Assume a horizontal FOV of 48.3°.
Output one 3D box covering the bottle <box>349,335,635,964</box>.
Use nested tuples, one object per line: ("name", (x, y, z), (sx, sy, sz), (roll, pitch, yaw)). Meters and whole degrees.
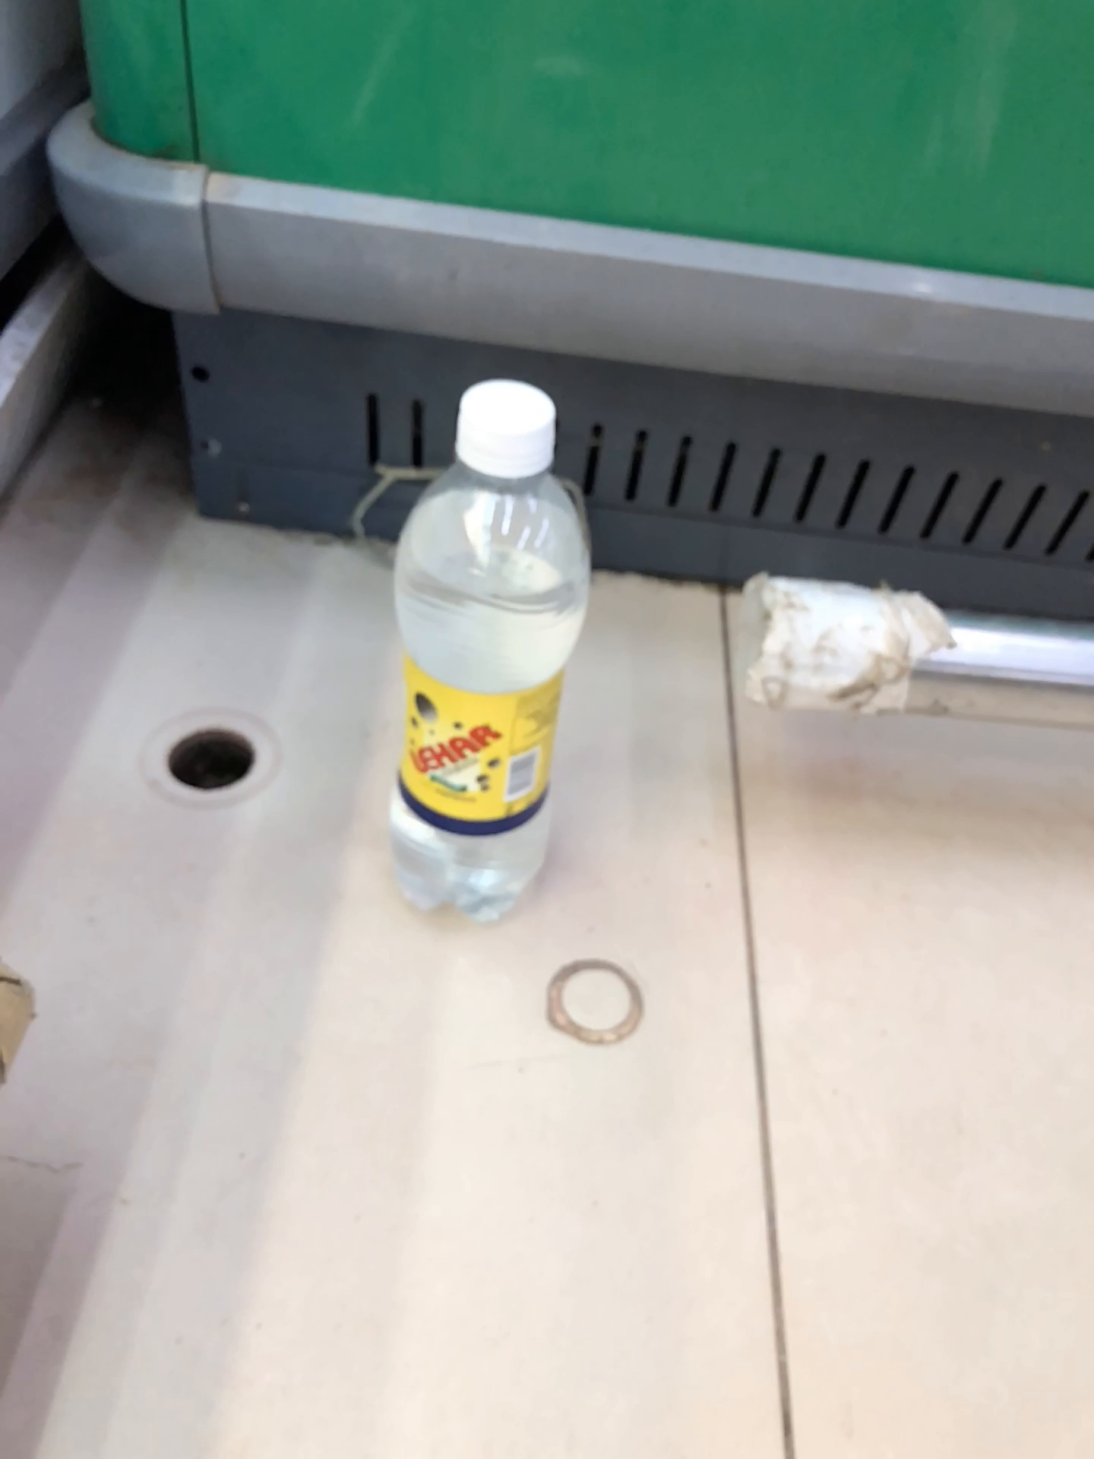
("bottle", (-0.026, -0.017, 0.455), (0.070, 0.228, 0.070), (4, 44, -4))
